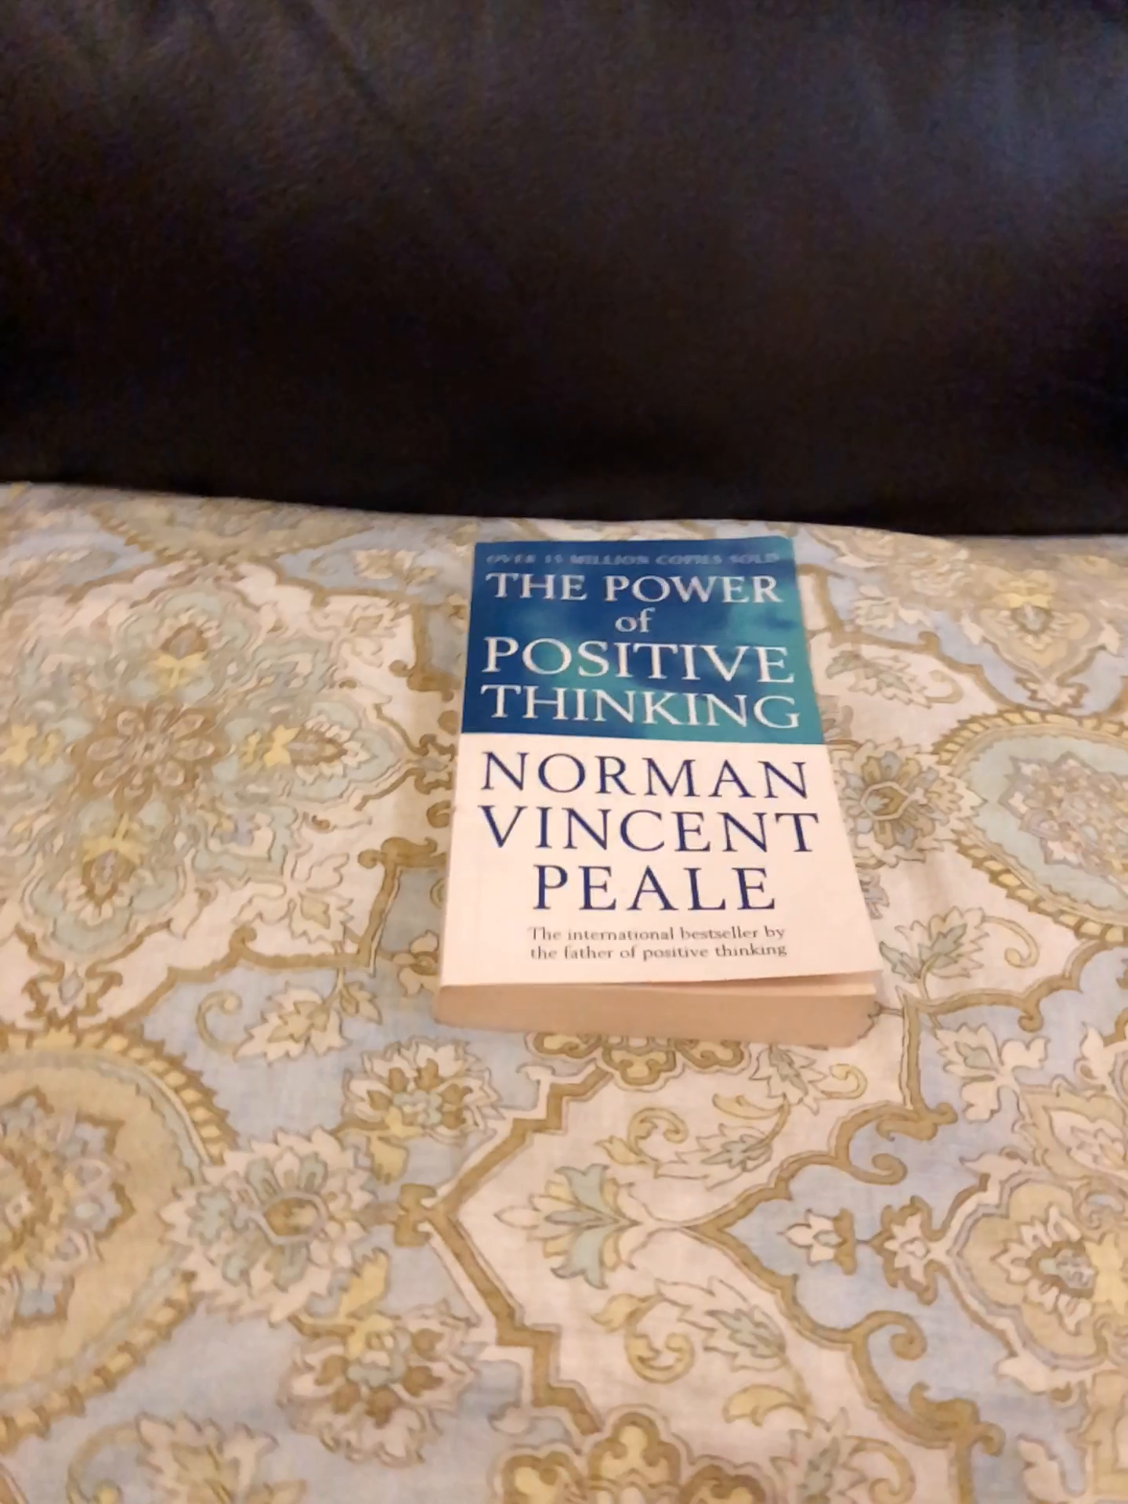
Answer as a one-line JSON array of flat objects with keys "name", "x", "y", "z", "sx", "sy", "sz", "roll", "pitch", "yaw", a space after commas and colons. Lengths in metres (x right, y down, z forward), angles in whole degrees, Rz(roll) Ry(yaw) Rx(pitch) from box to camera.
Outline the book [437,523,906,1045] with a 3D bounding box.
[{"name": "book", "x": 0.025, "y": 0.001, "z": 0.388, "sx": 0.120, "sy": 0.030, "sz": 0.183, "roll": 1, "pitch": 49, "yaw": -3}]
